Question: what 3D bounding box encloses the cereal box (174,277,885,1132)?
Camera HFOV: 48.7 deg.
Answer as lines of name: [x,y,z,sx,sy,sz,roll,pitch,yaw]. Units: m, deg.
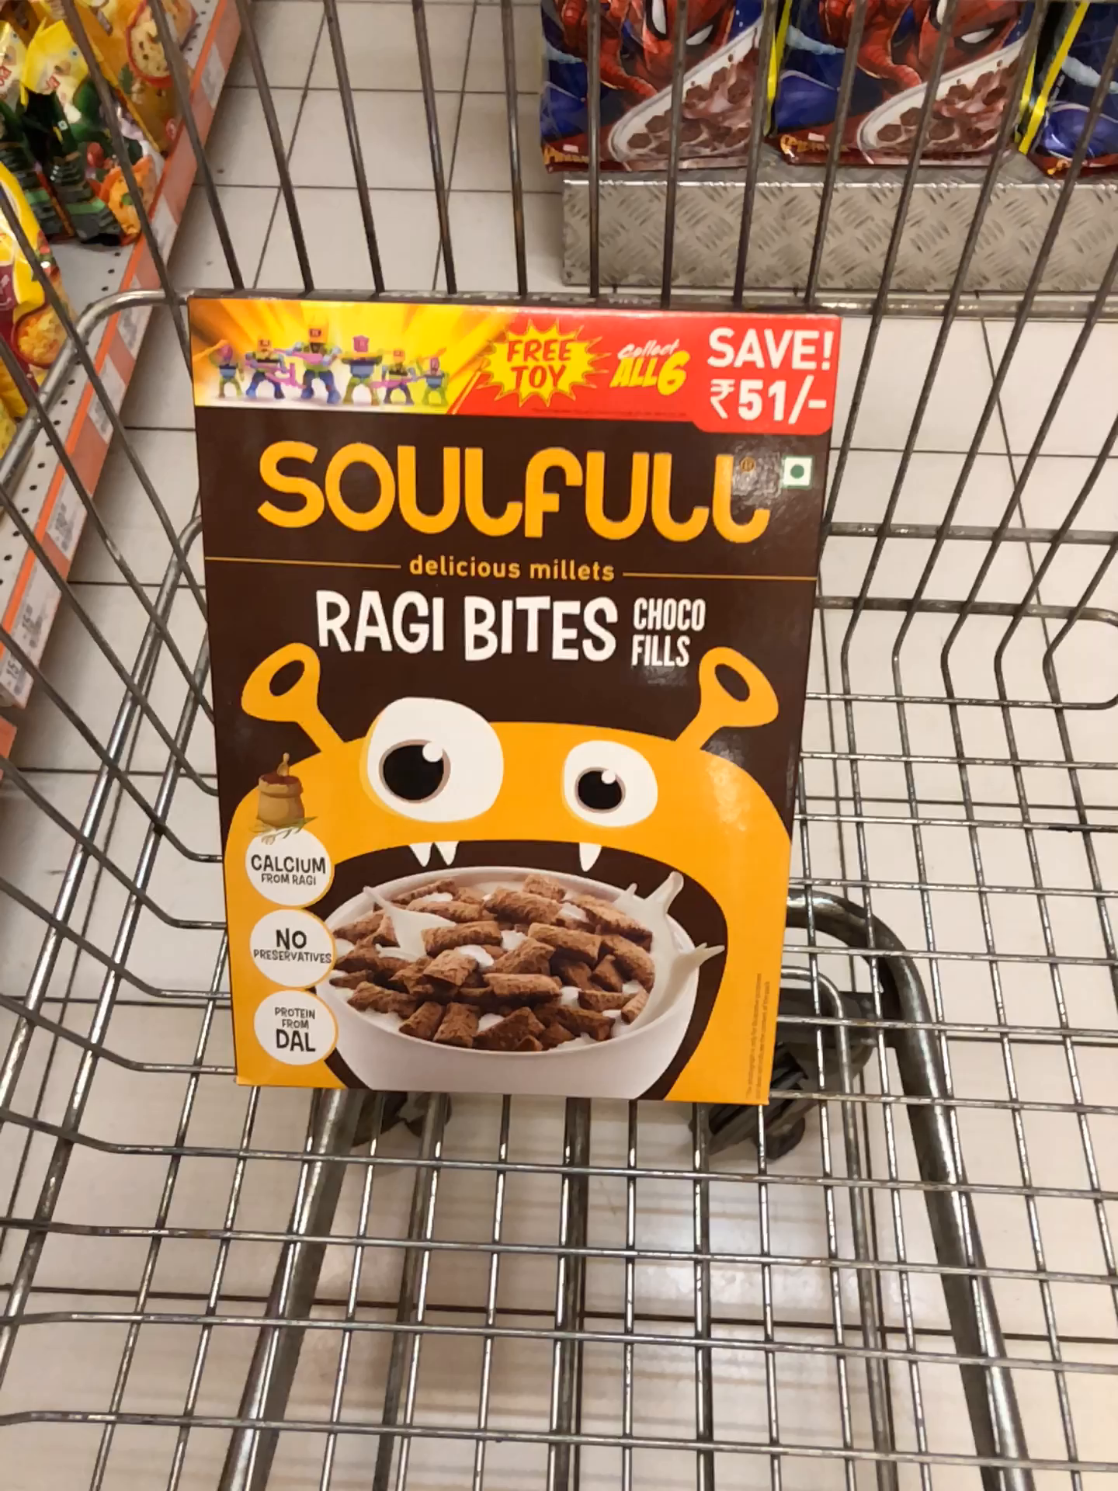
cereal box: [-0.011,-0.011,0.403,0.190,0.259,0.070,2,18,2]
